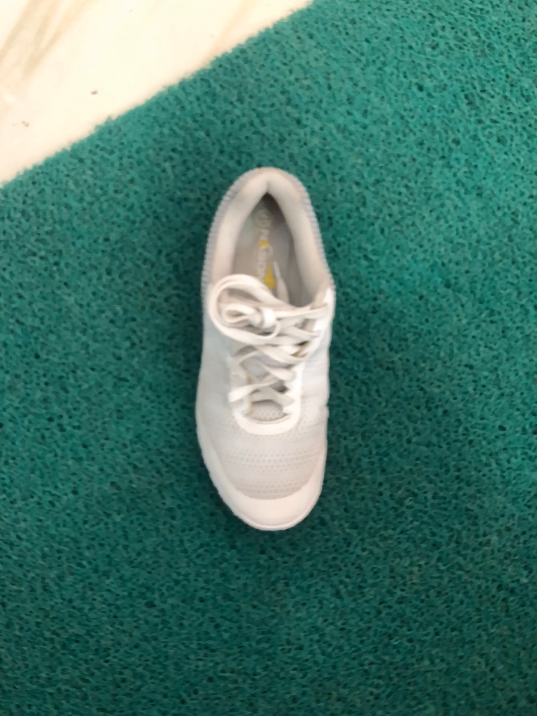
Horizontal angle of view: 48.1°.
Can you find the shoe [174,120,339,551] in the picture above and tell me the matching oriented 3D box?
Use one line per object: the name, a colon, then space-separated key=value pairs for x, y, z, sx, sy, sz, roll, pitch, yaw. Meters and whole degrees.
shoe: x=-0.007 y=-0.015 z=0.457 sx=0.100 sy=0.100 sz=0.290 roll=2 pitch=85 yaw=0
